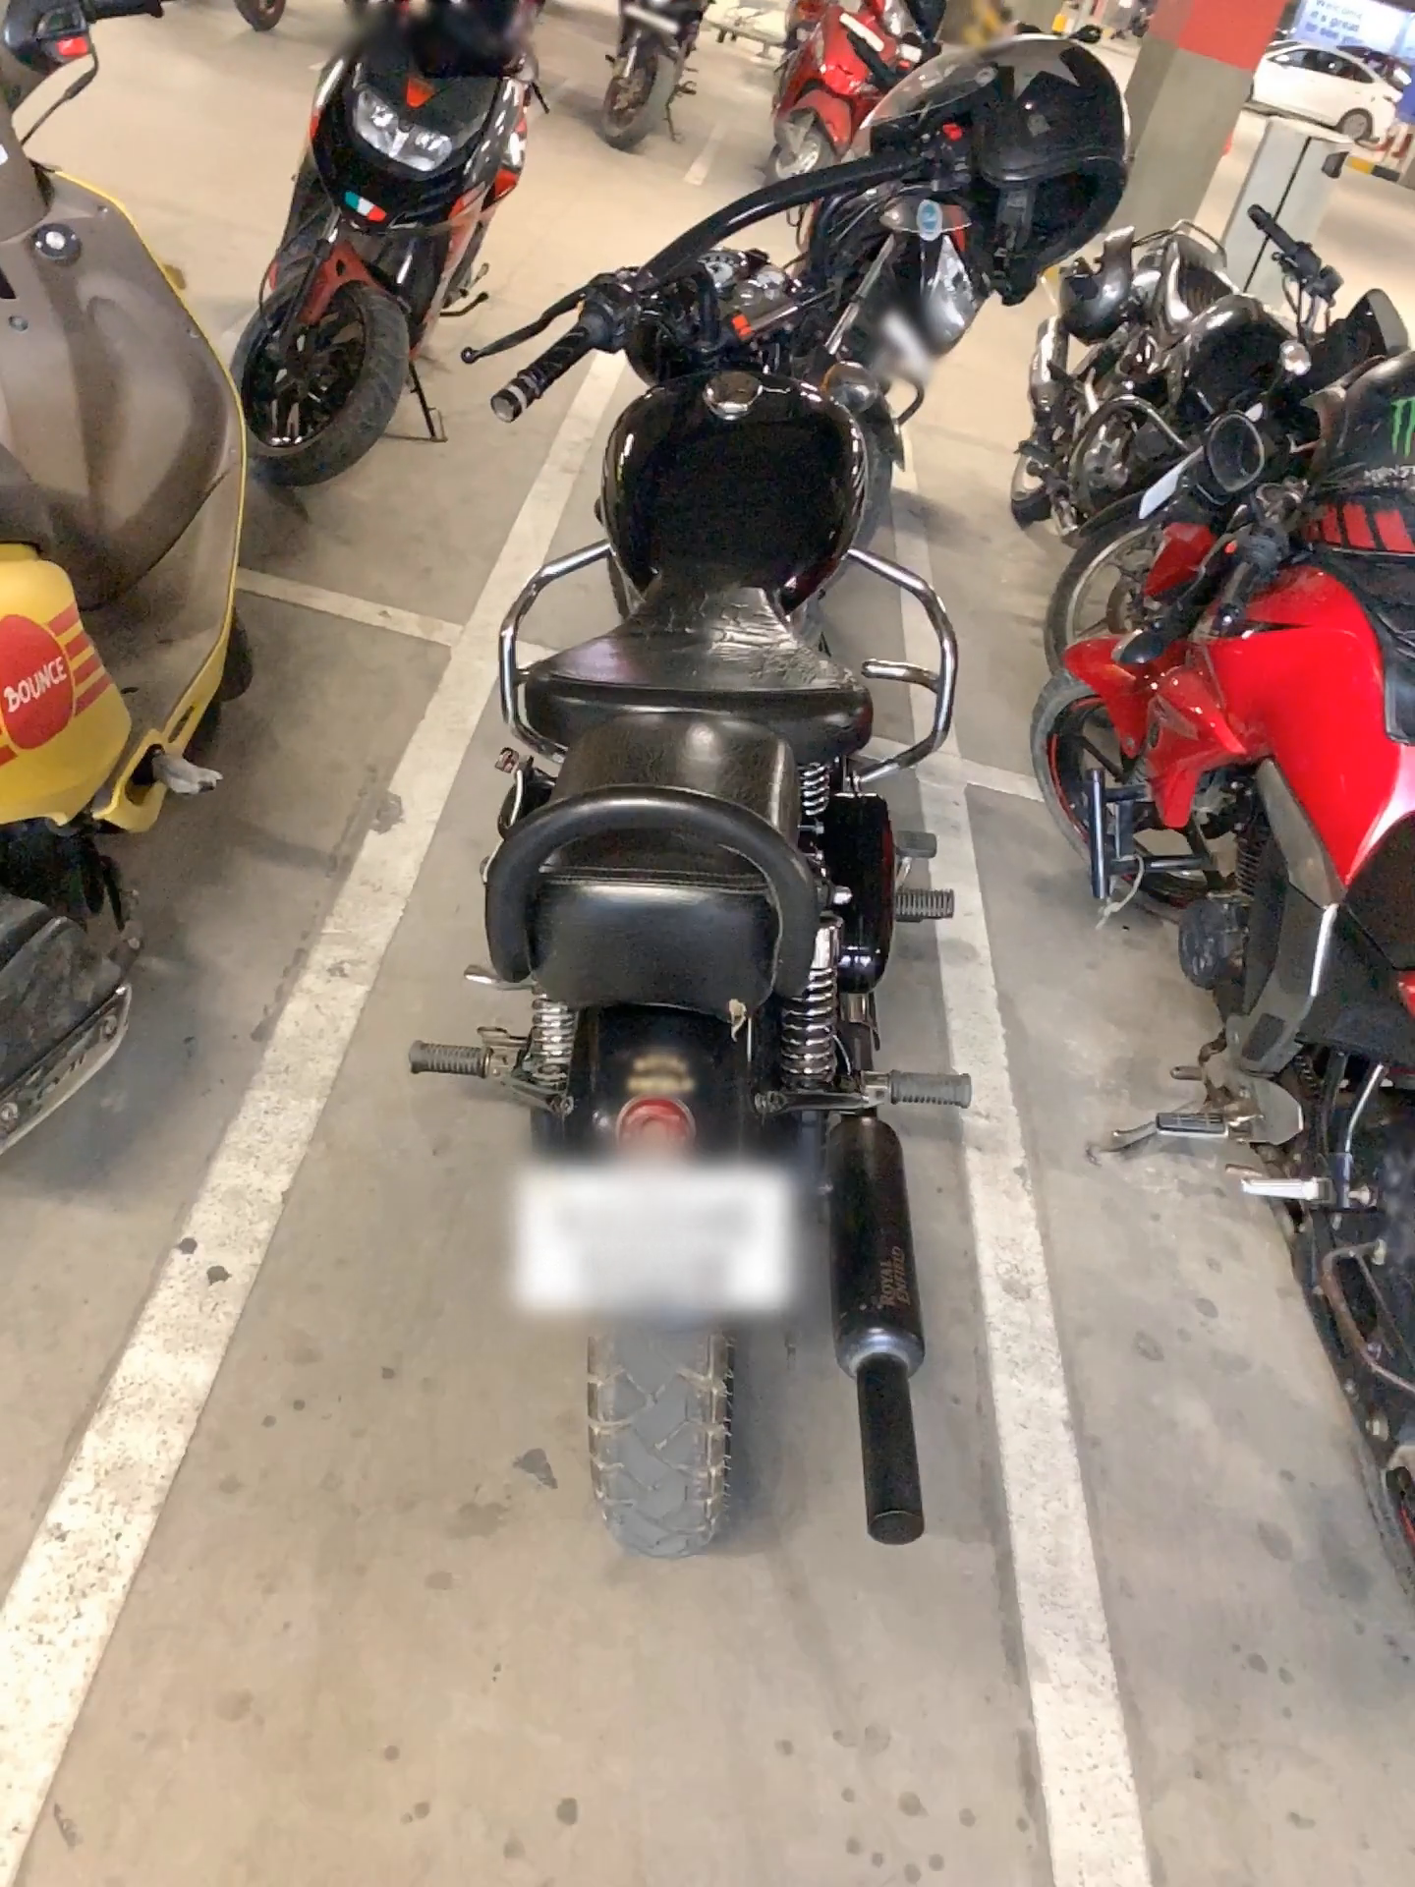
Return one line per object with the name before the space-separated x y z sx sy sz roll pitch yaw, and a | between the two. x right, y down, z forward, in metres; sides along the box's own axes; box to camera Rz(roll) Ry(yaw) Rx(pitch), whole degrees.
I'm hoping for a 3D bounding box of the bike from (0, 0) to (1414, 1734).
bike | -0.175 -0.394 1.855 0.799 1.303 2.031 9 36 -12
